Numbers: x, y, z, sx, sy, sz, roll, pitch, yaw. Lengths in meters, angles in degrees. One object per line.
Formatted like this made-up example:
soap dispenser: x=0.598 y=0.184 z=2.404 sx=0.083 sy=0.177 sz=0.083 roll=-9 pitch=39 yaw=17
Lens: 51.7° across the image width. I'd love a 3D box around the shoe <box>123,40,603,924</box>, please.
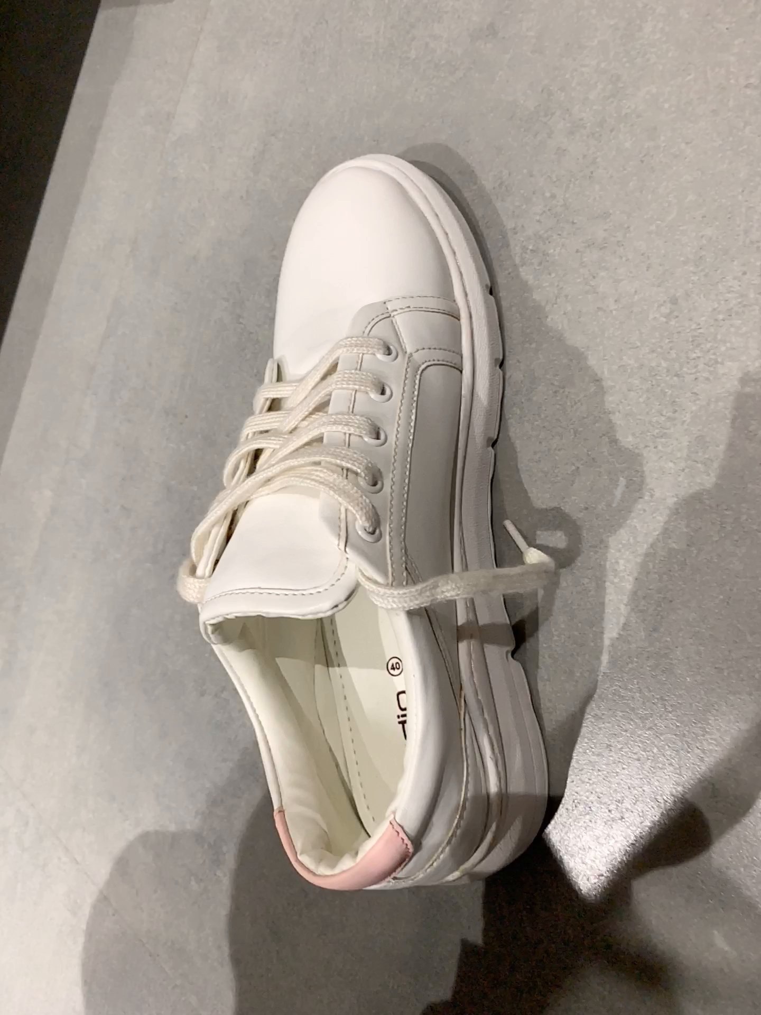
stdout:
shoe: x=-0.011 y=-0.004 z=0.286 sx=0.111 sy=0.100 sz=0.250 roll=-14 pitch=76 yaw=33
